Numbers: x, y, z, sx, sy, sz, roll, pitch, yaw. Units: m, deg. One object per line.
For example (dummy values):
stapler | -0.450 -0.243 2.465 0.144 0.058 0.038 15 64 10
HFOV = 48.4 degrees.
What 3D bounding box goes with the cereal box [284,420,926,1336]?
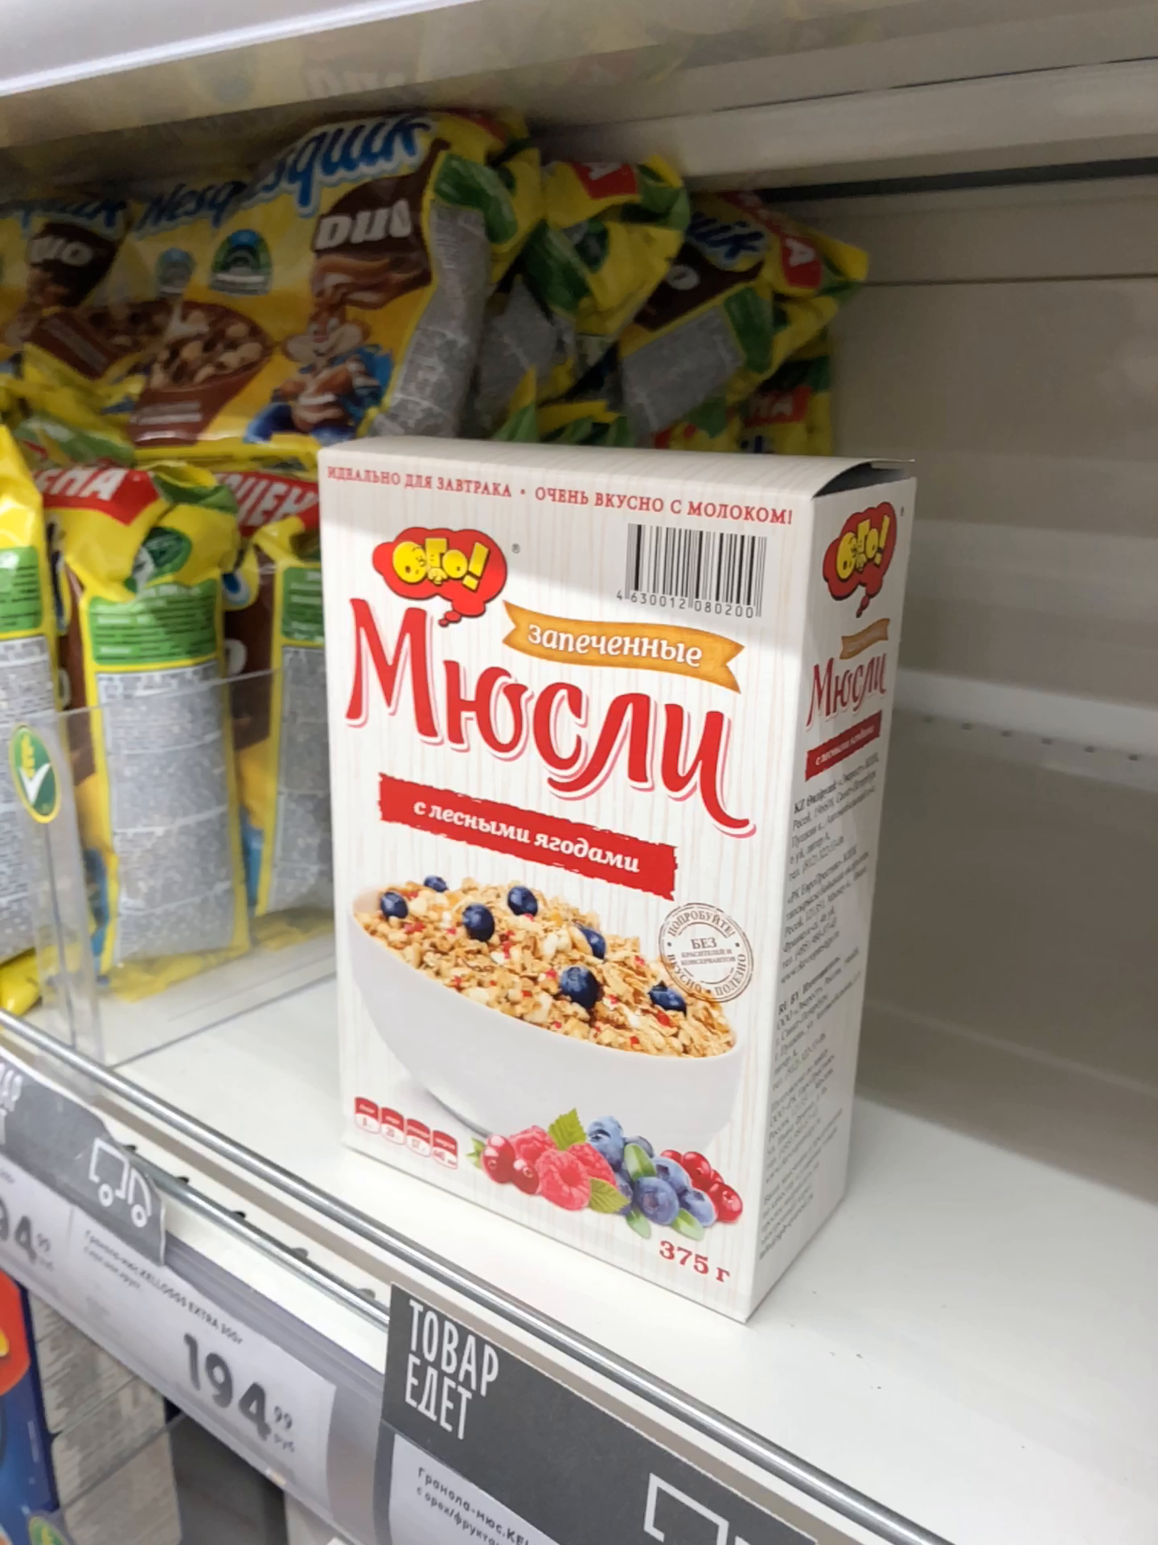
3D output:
cereal box | 0.002 0.016 0.331 0.140 0.199 0.060 12 21 32
